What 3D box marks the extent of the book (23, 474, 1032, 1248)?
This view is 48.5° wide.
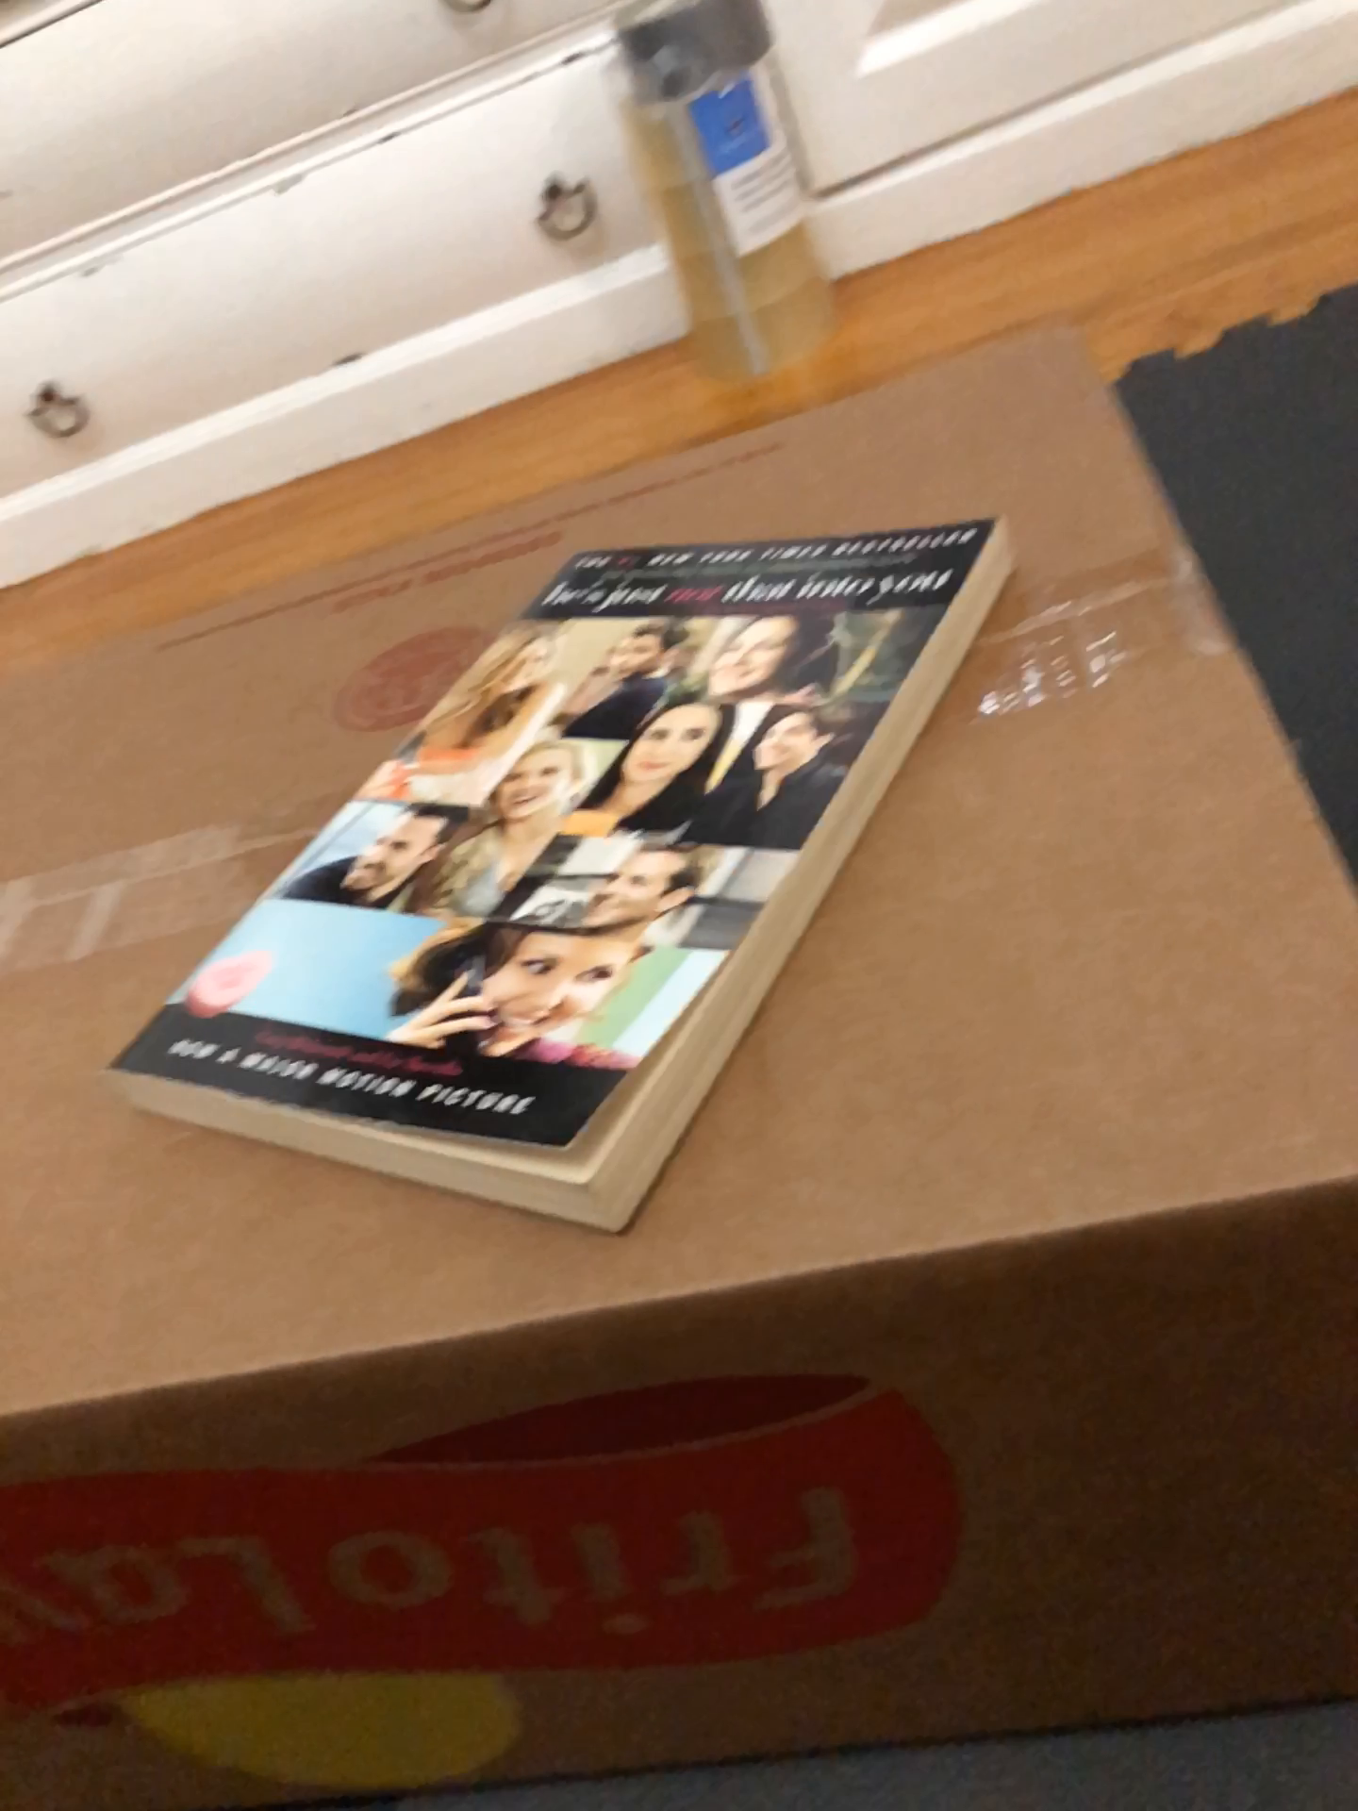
[{"bbox_3d":[-0.028,-0.028,0.351,0.160,0.020,0.211,4,46,34],"label":"book"}]
